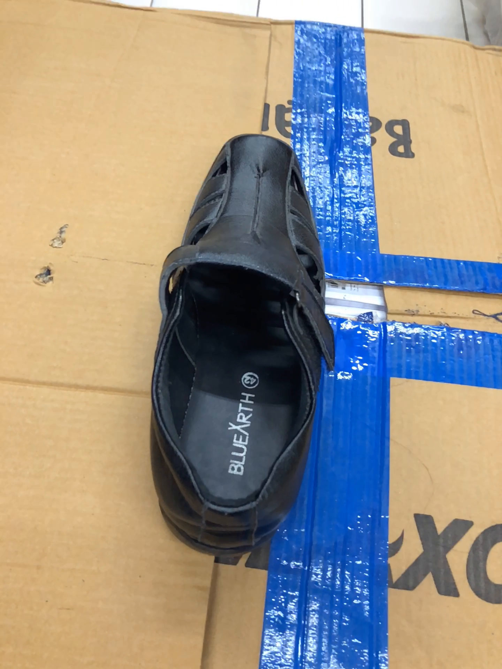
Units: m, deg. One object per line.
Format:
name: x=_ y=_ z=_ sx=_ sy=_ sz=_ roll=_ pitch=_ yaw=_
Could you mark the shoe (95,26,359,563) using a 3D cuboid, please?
shoe: x=-0.003 y=-0.036 z=0.325 sx=0.100 sy=0.100 sz=0.301 roll=5 pitch=61 yaw=-2
